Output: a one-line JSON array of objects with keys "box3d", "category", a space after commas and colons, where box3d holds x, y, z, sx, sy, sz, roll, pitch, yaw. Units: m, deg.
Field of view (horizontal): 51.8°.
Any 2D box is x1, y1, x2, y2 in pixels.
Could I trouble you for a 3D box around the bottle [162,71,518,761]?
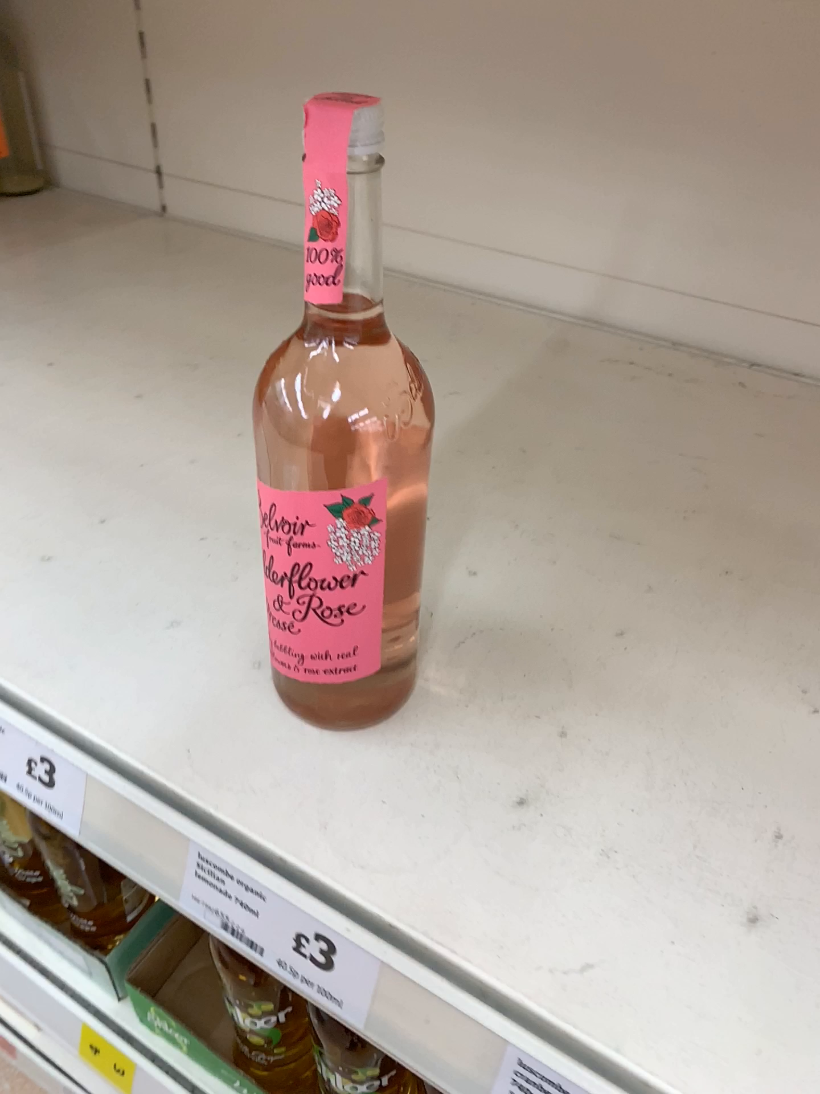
[{"box3d": [-0.029, -0.044, 0.372, 0.087, 0.274, 0.087, 2, 37, -1], "category": "bottle"}]
